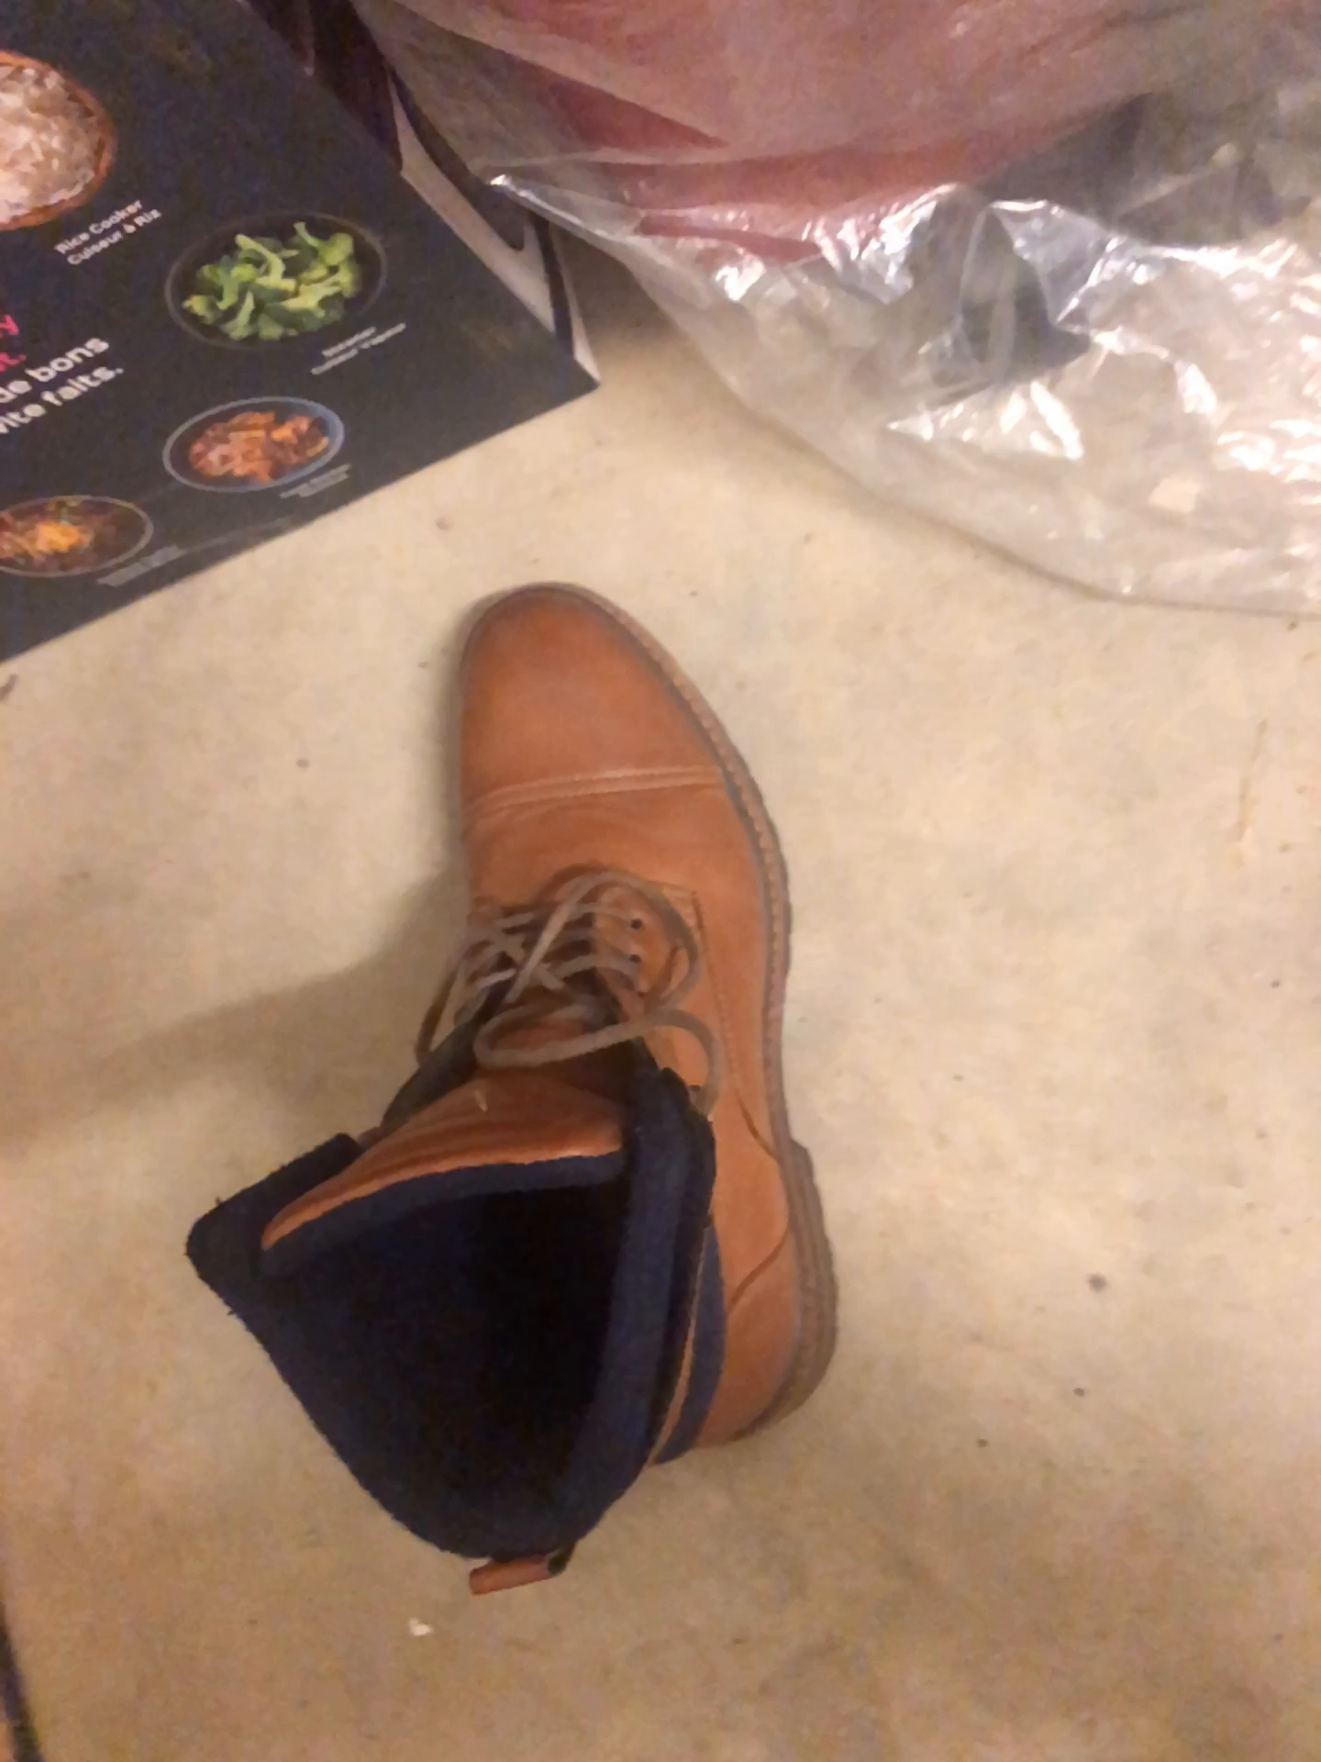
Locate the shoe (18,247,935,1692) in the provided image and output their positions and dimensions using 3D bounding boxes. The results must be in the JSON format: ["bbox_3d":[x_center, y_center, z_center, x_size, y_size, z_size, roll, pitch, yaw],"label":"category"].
[{"bbox_3d":[-0.037,0.026,0.427,0.132,0.202,0.303,-16,80,17],"label":"shoe"}]
